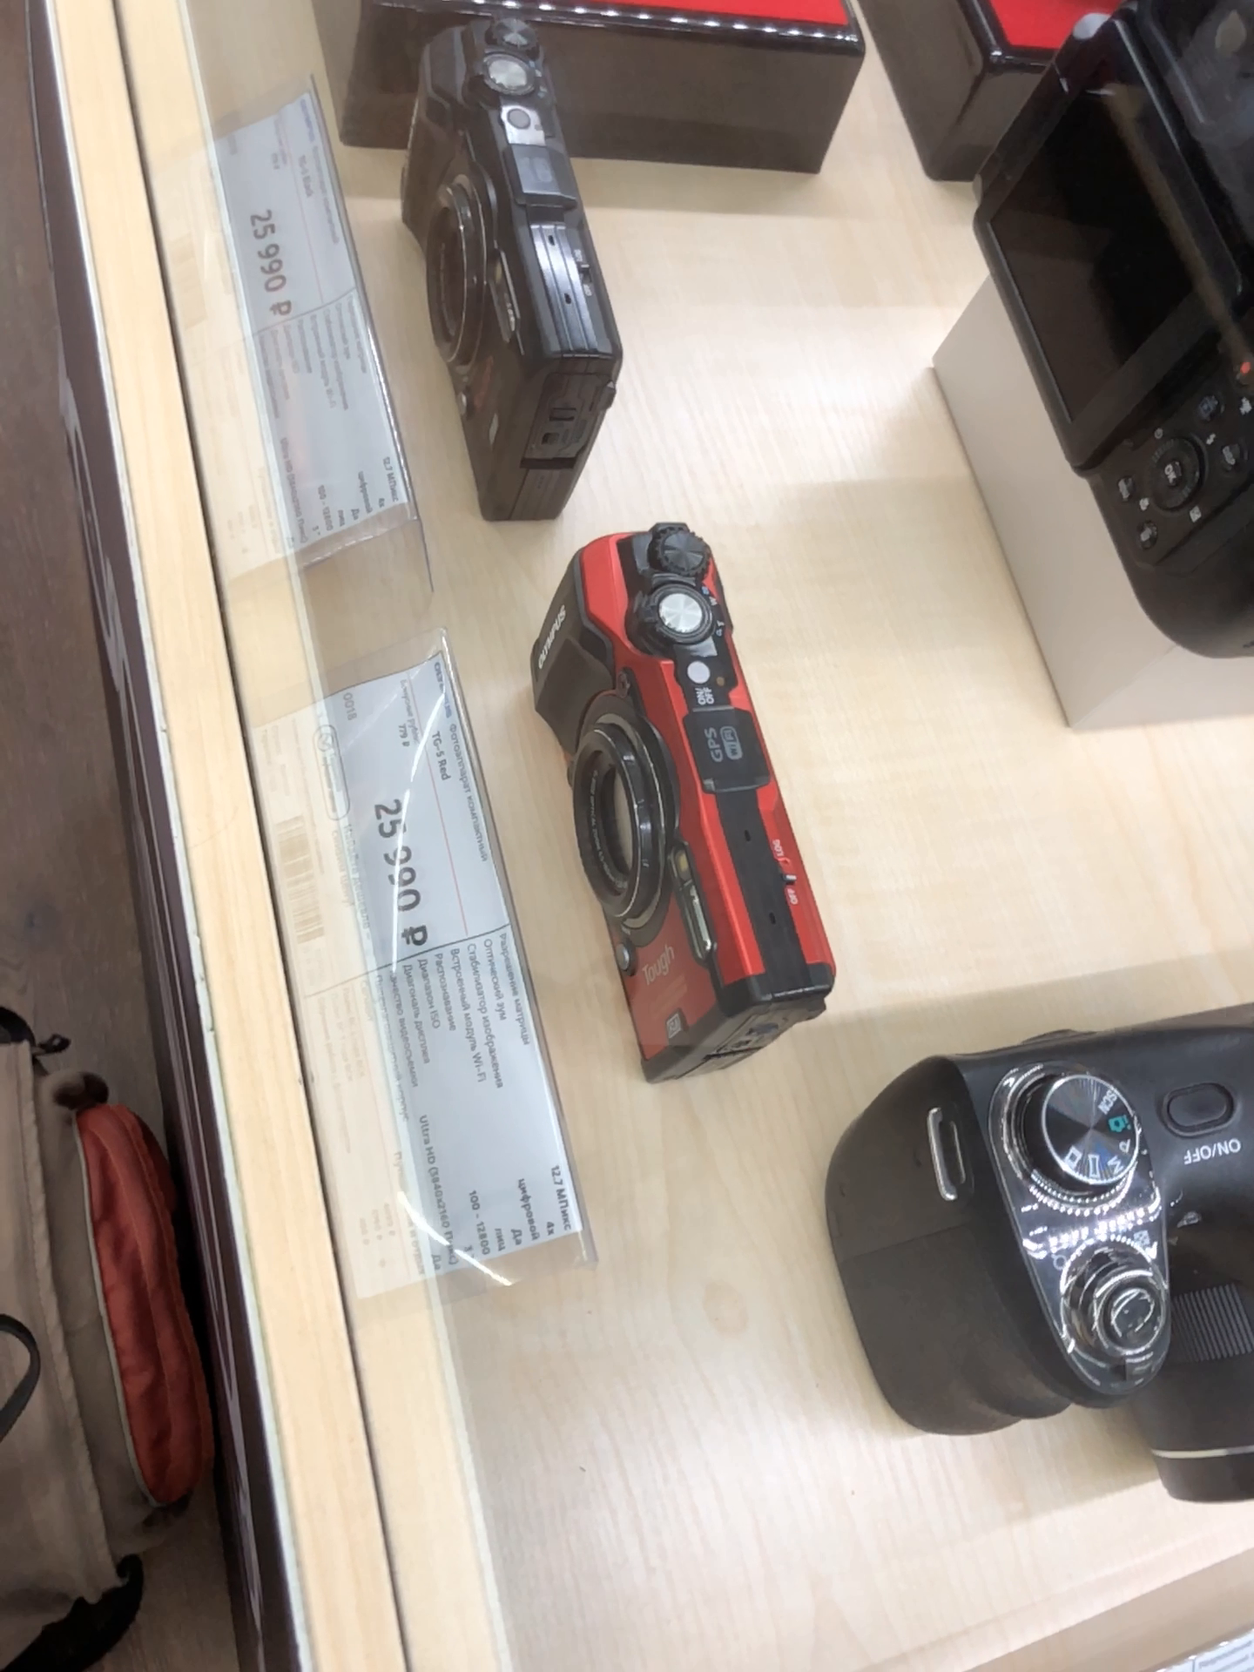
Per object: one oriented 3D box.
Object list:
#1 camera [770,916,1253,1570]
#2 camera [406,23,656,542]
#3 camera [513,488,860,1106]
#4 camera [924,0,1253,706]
[{"bbox_3d":[0.109,0.081,0.287,0.117,0.078,0.094,-6,68,-20],"label":"camera"},{"bbox_3d":[-0.029,-0.145,0.368,0.030,0.061,0.117,-7,69,-20],"label":"camera"},{"bbox_3d":[0.008,-0.008,0.305,0.030,0.061,0.119,-7,69,-20],"label":"camera"},{"bbox_3d":[0.166,-0.120,0.325,0.127,0.086,0.147,-6,68,-20],"label":"camera"}]
